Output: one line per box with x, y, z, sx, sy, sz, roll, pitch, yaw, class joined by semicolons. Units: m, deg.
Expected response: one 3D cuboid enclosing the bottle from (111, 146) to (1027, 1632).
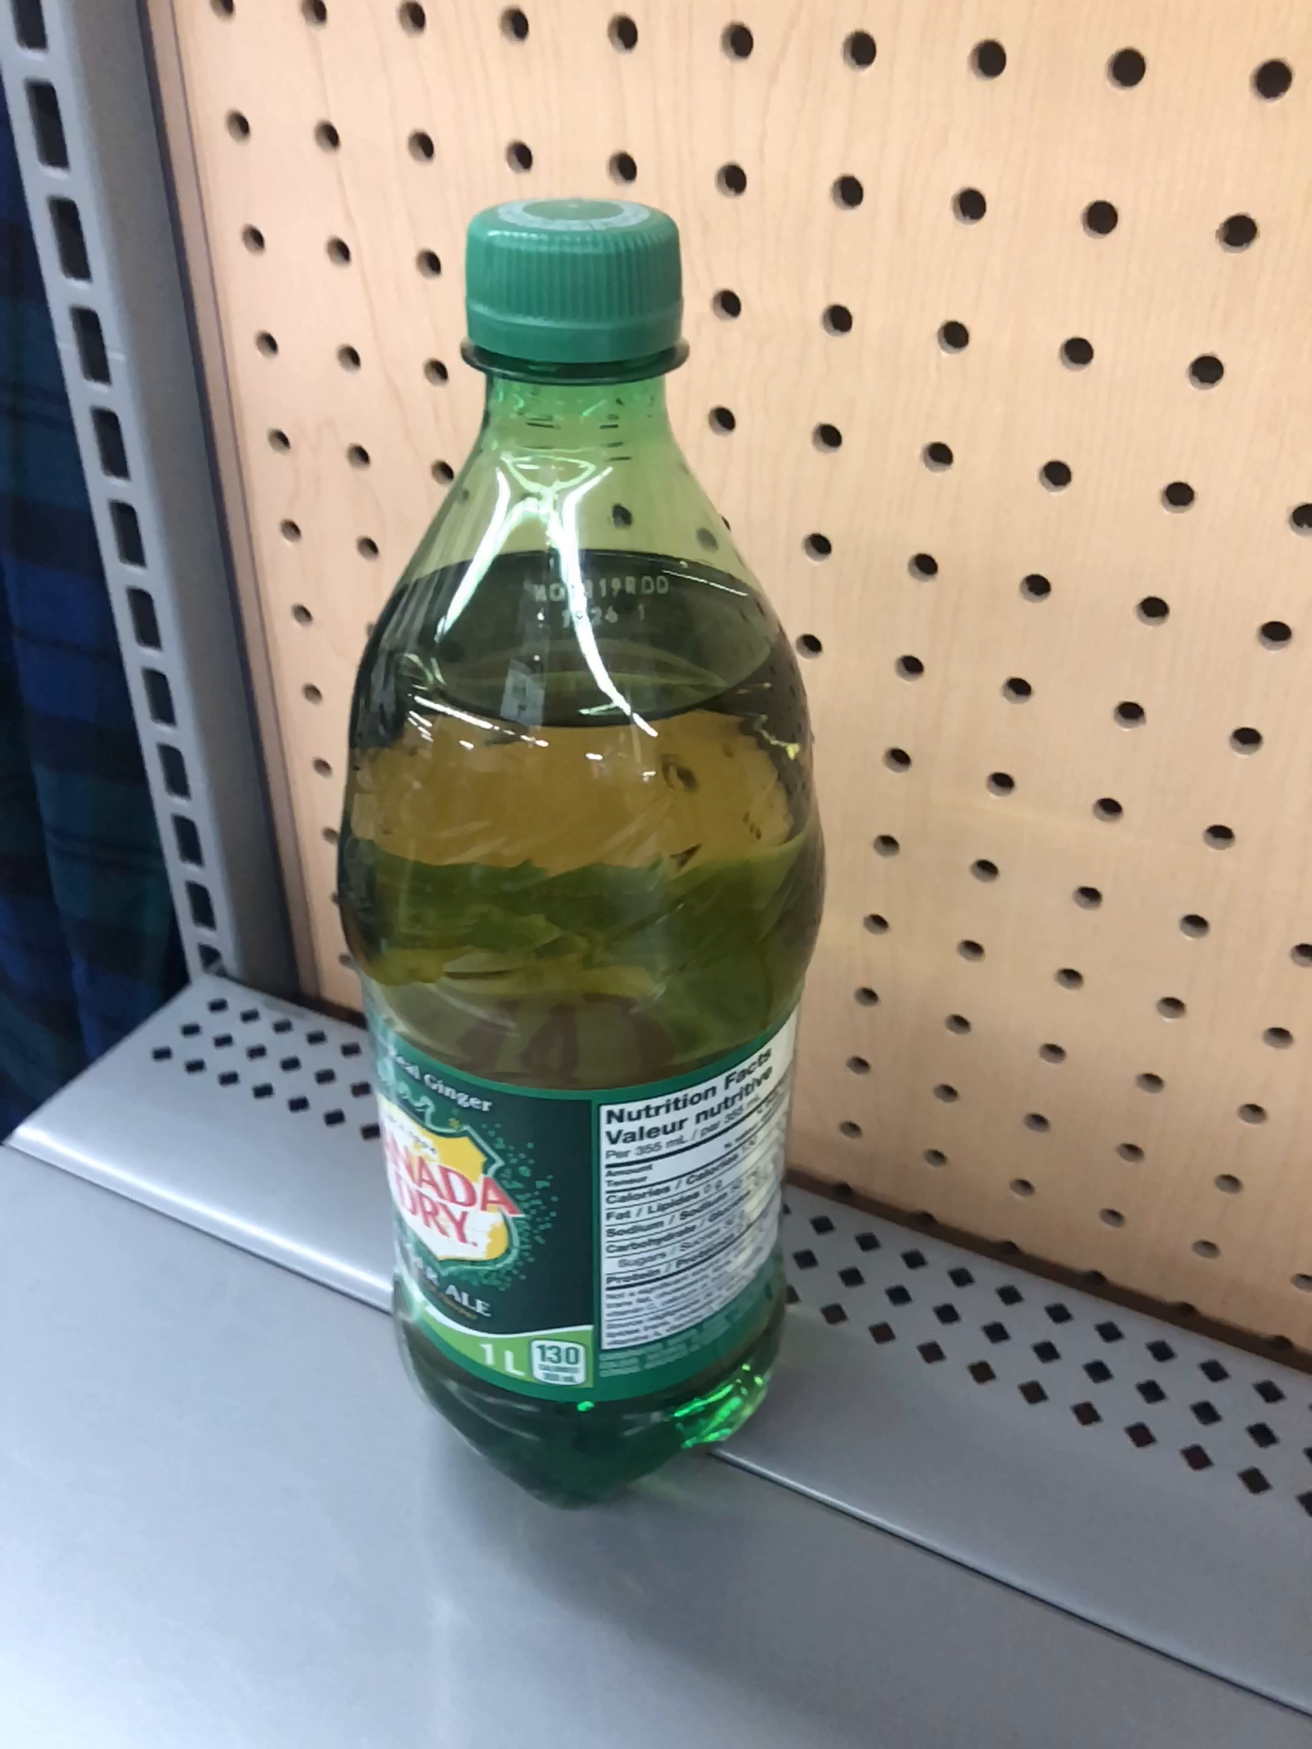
-0.015;0.012;0.271;0.090;0.248;0.090;1;34;-1;bottle
